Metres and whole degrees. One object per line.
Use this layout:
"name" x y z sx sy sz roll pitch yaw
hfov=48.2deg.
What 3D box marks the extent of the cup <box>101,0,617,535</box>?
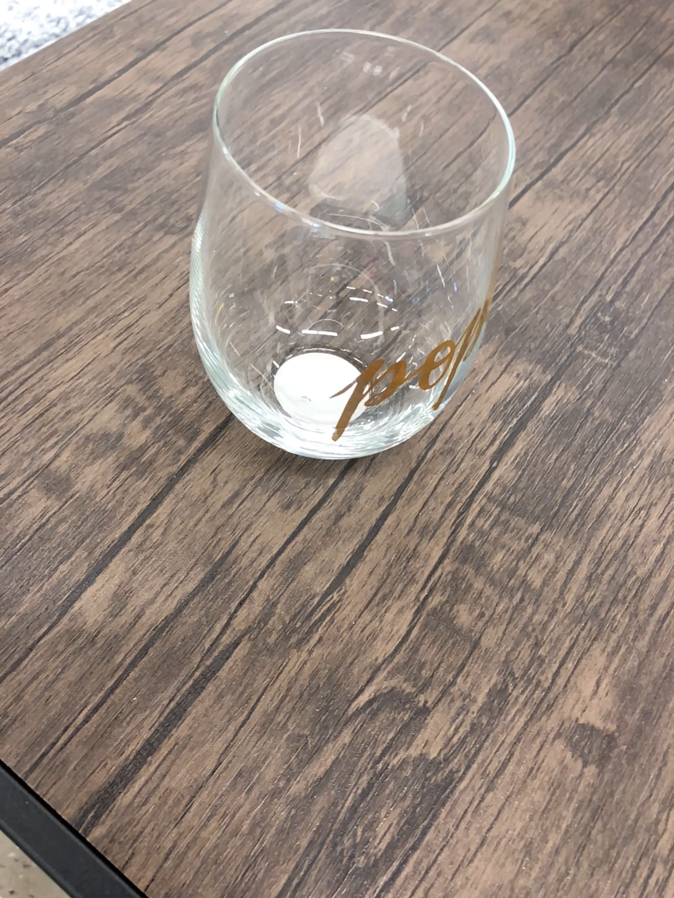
"cup" -0.007 -0.053 0.226 0.100 0.130 0.100 3 59 -5
